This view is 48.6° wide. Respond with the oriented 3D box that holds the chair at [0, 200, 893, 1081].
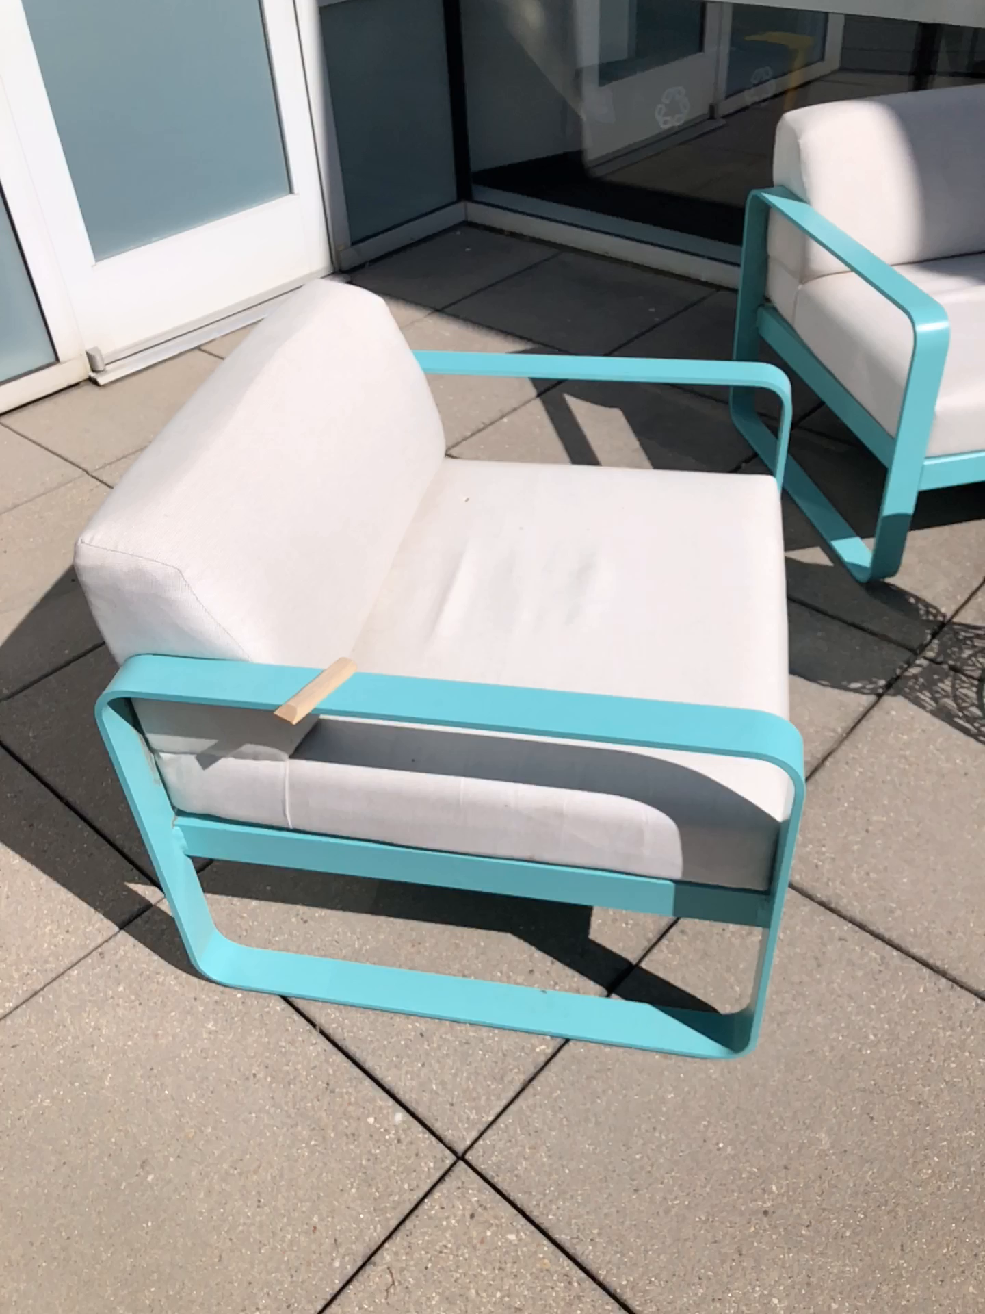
[{"bbox_3d":[-0.030,-0.087,1.505,0.870,0.766,0.904,3,39,9],"label":"chair"}]
